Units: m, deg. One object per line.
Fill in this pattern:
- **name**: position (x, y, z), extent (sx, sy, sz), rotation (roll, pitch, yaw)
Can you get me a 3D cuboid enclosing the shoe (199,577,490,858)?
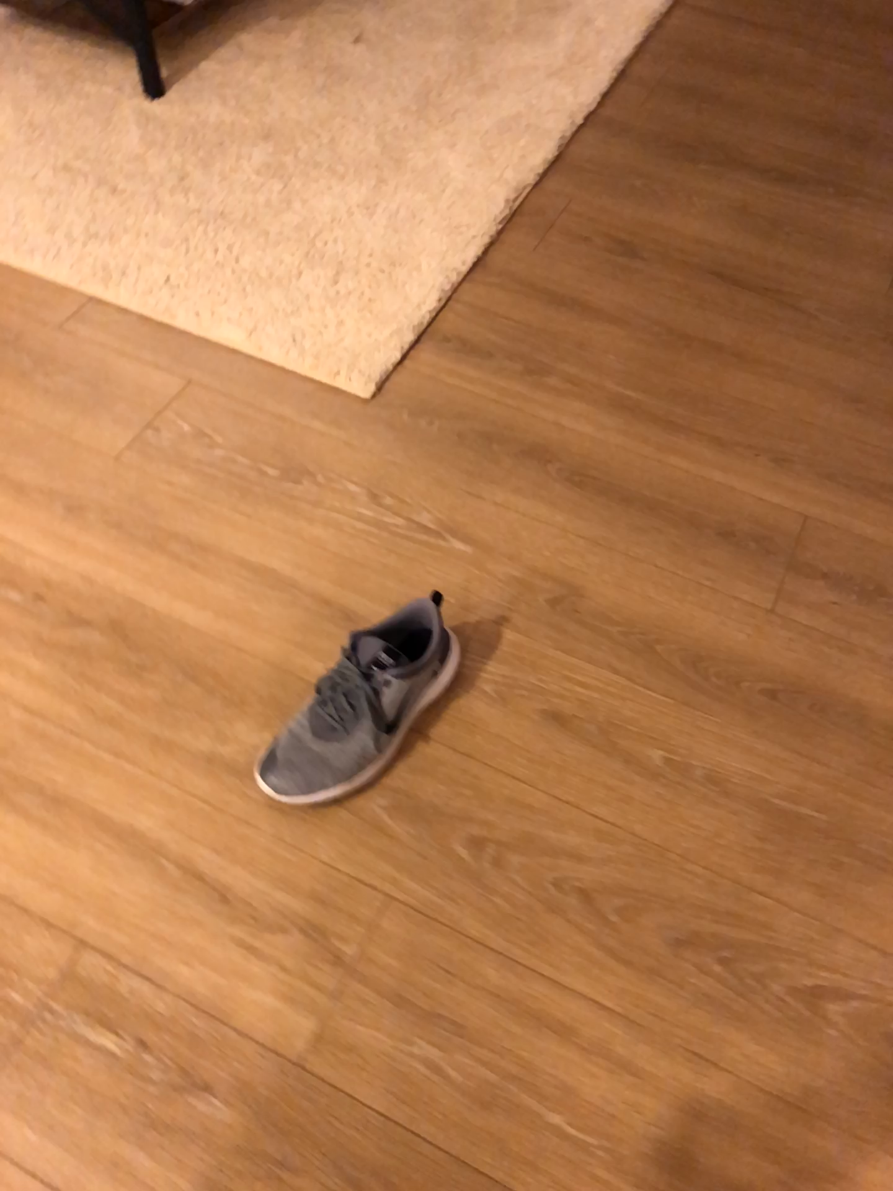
- **shoe**: position (-0.107, 0.129, 1.108), extent (0.140, 0.090, 0.301), rotation (39, 62, 23)
